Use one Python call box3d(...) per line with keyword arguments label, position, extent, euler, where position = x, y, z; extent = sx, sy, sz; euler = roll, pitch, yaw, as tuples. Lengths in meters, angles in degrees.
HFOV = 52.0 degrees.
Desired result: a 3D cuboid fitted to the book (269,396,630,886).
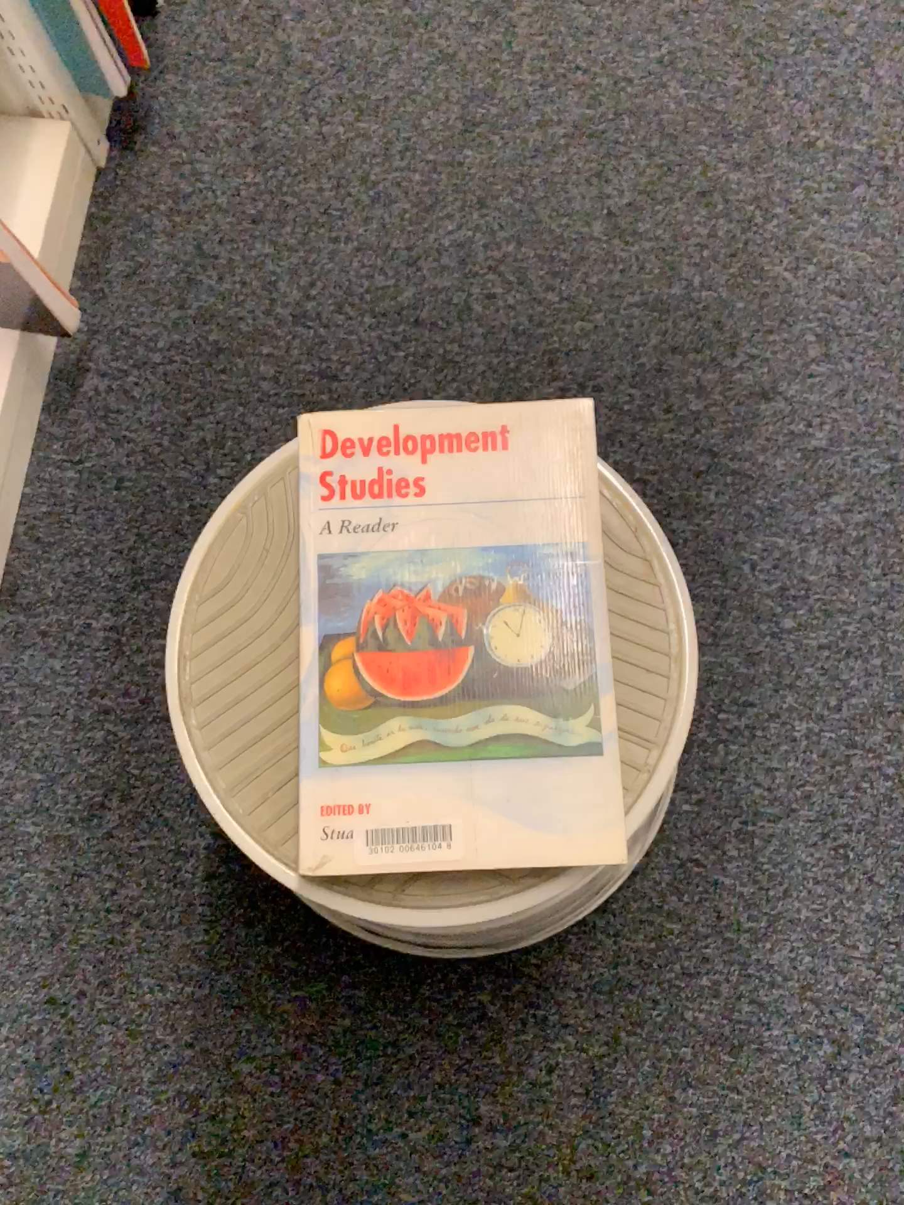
box3d(label="book", position=(-0.005, 0.017, 0.454), extent=(0.159, 0.046, 0.225), euler=(-2, 78, 1))
